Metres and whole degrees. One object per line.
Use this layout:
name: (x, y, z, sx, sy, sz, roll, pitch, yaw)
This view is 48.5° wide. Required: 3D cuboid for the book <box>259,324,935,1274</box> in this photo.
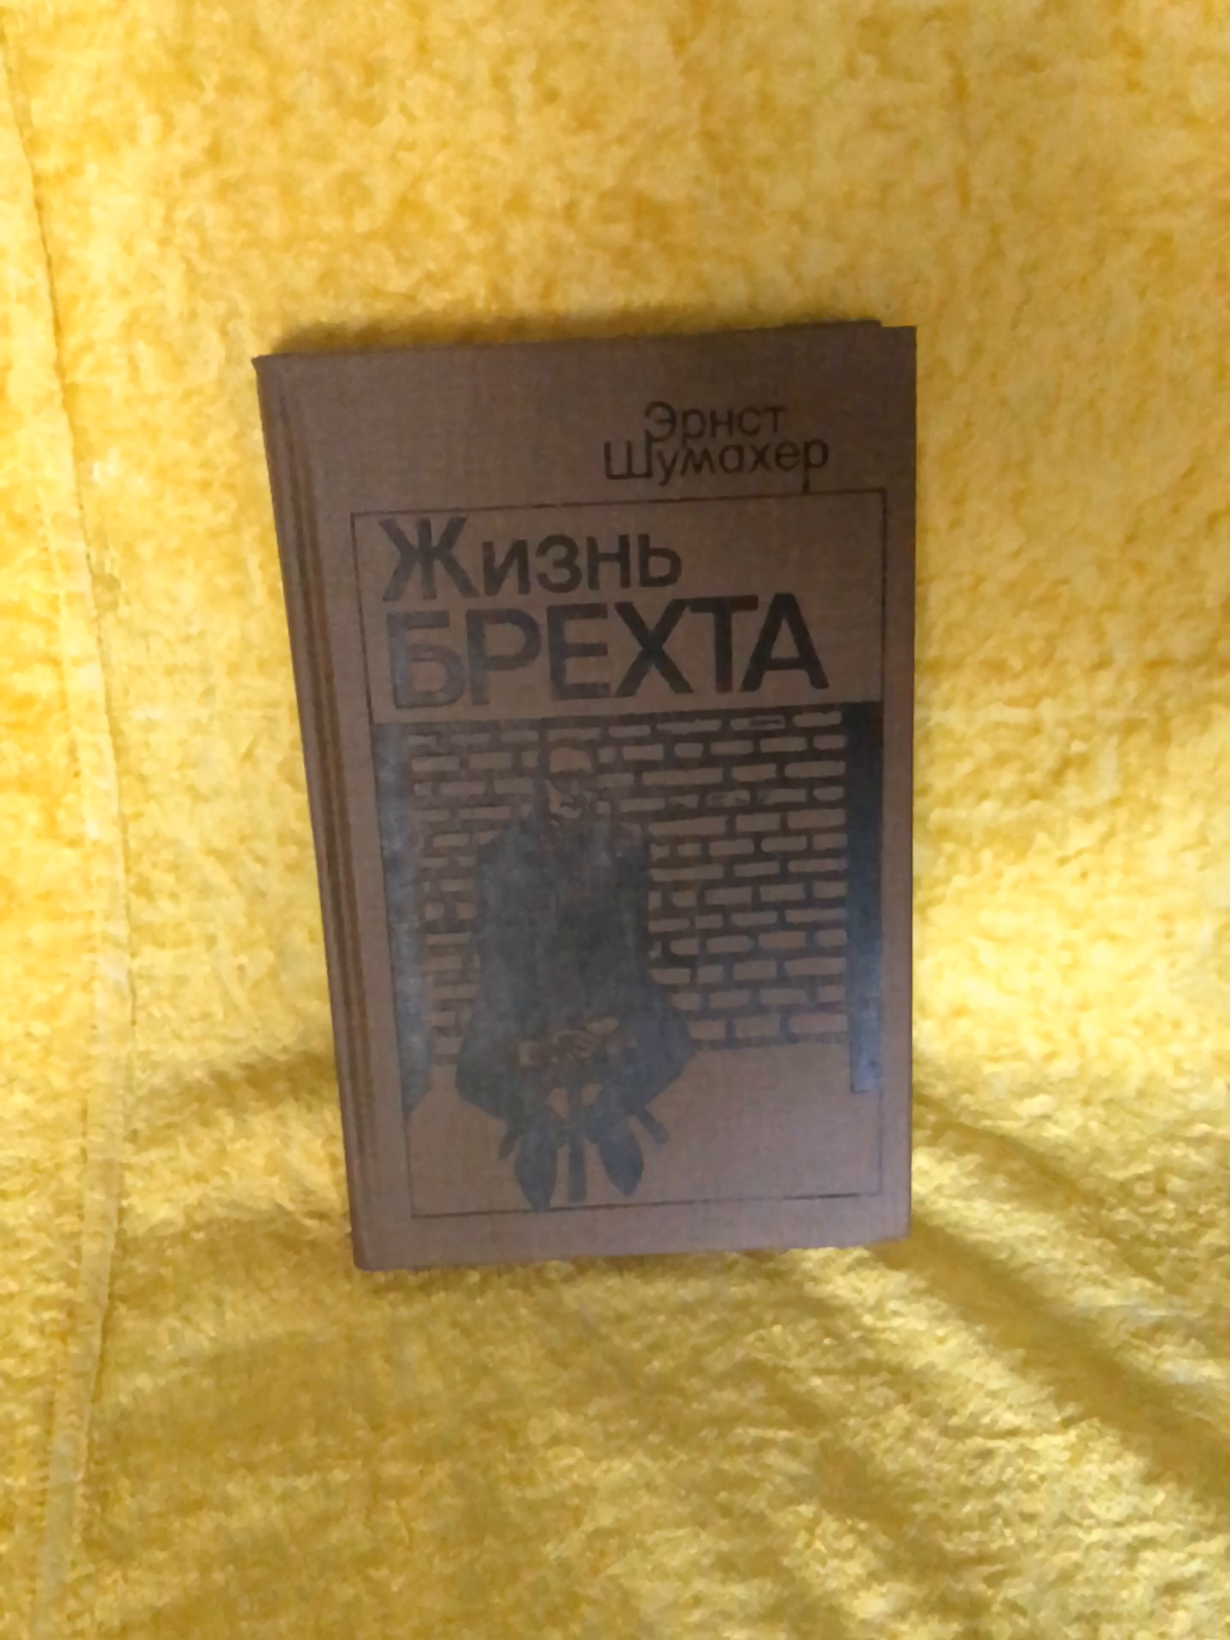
book: (0.000, -0.001, 0.303, 0.130, 0.200, 0.033, -2, 14, -2)
